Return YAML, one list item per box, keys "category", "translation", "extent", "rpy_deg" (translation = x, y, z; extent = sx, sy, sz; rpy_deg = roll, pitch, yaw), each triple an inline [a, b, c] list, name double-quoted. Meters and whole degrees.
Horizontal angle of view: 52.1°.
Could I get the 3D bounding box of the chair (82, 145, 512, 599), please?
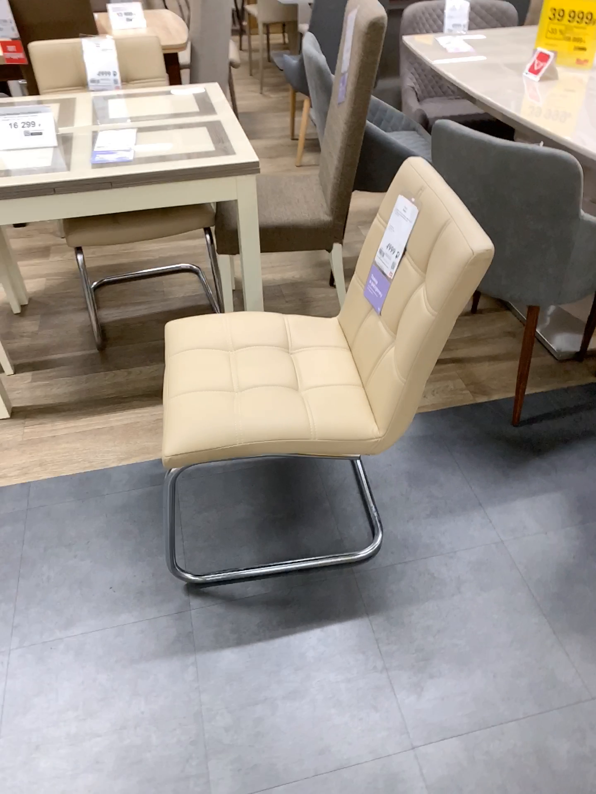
- category: "chair"
  translation: [-0.023, -0.046, 1.378]
  extent: [0.650, 0.815, 0.533]
  rpy_deg: [-5, 40, -6]
